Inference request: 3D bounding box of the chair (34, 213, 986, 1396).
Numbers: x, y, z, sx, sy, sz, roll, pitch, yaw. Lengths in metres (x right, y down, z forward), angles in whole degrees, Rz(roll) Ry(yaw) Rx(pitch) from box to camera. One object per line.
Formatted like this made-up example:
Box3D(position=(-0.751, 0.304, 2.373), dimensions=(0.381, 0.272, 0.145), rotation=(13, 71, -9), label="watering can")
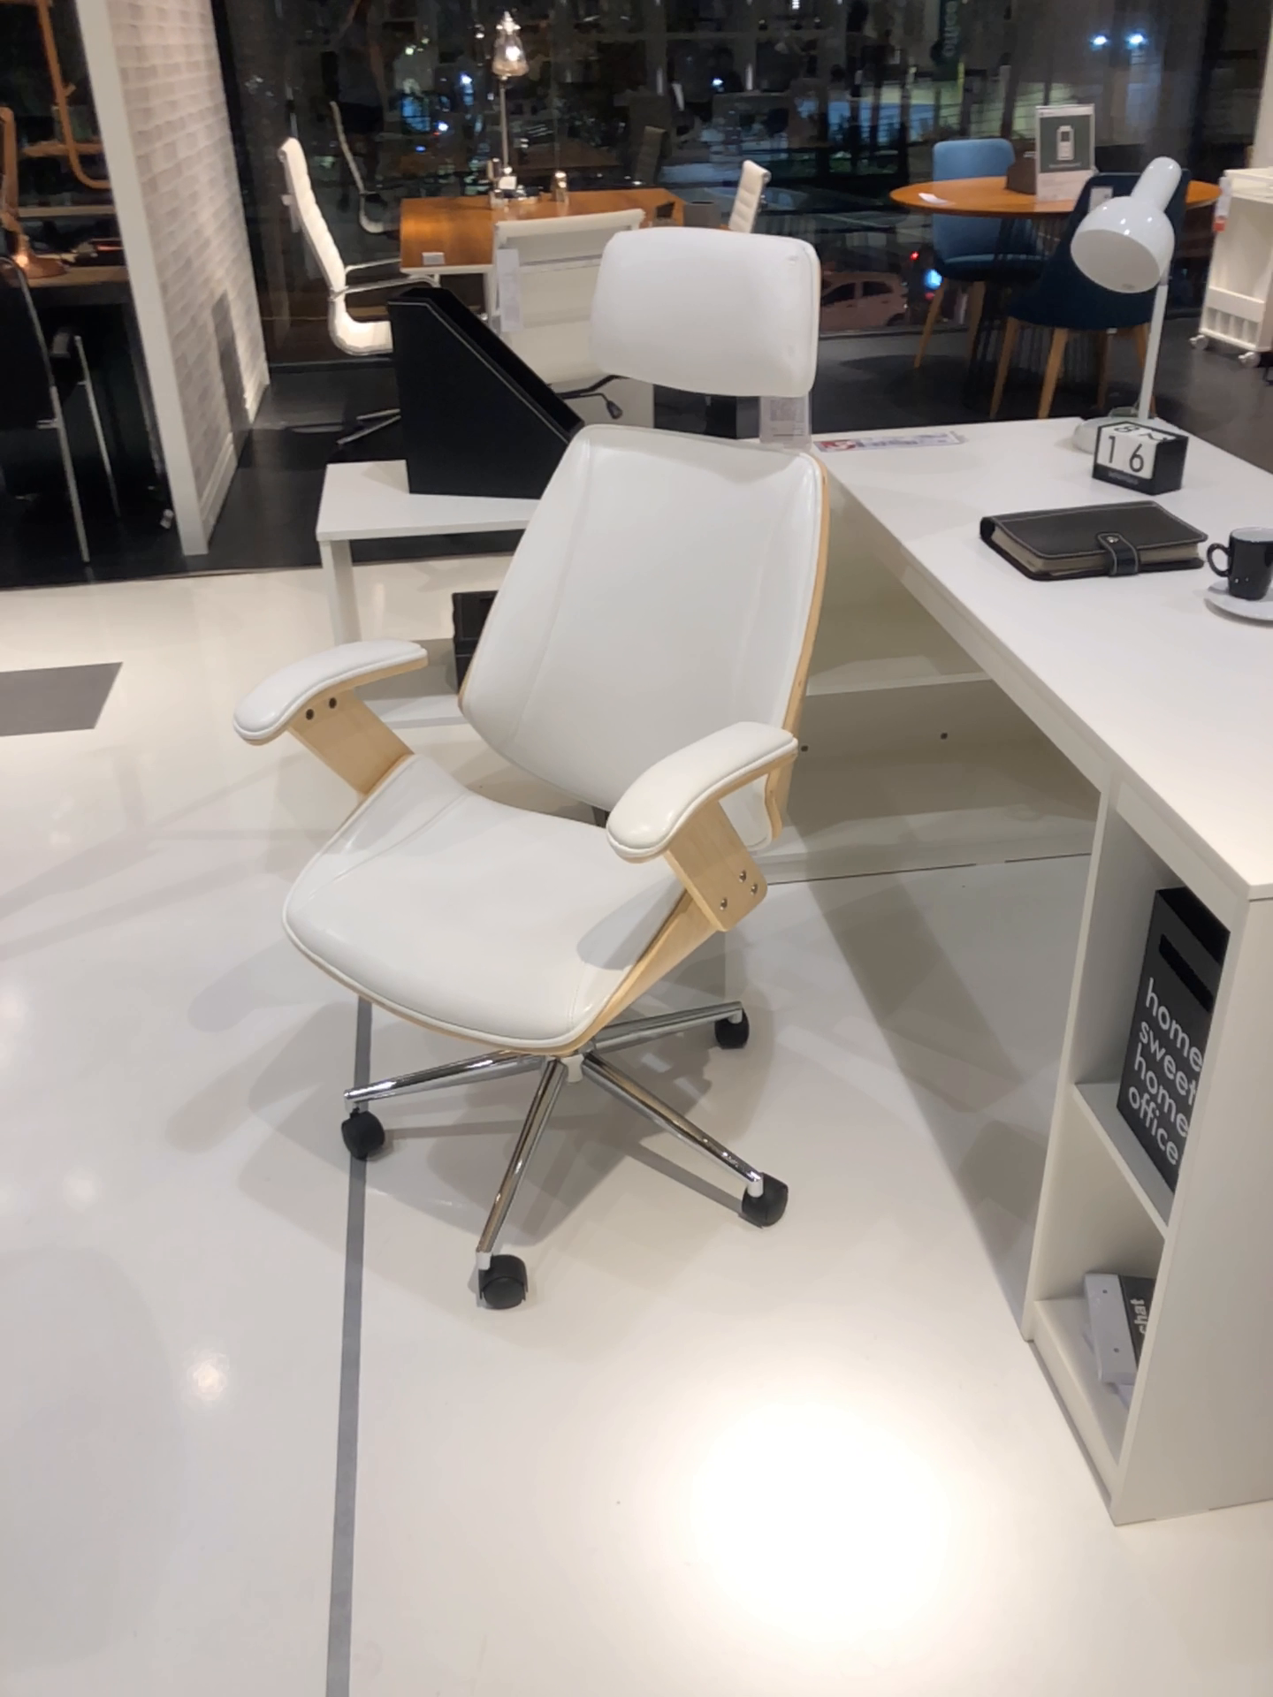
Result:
Box3D(position=(-0.087, -0.117, 1.684), dimensions=(0.672, 1.101, 0.704), rotation=(18, 35, 31), label="chair")
